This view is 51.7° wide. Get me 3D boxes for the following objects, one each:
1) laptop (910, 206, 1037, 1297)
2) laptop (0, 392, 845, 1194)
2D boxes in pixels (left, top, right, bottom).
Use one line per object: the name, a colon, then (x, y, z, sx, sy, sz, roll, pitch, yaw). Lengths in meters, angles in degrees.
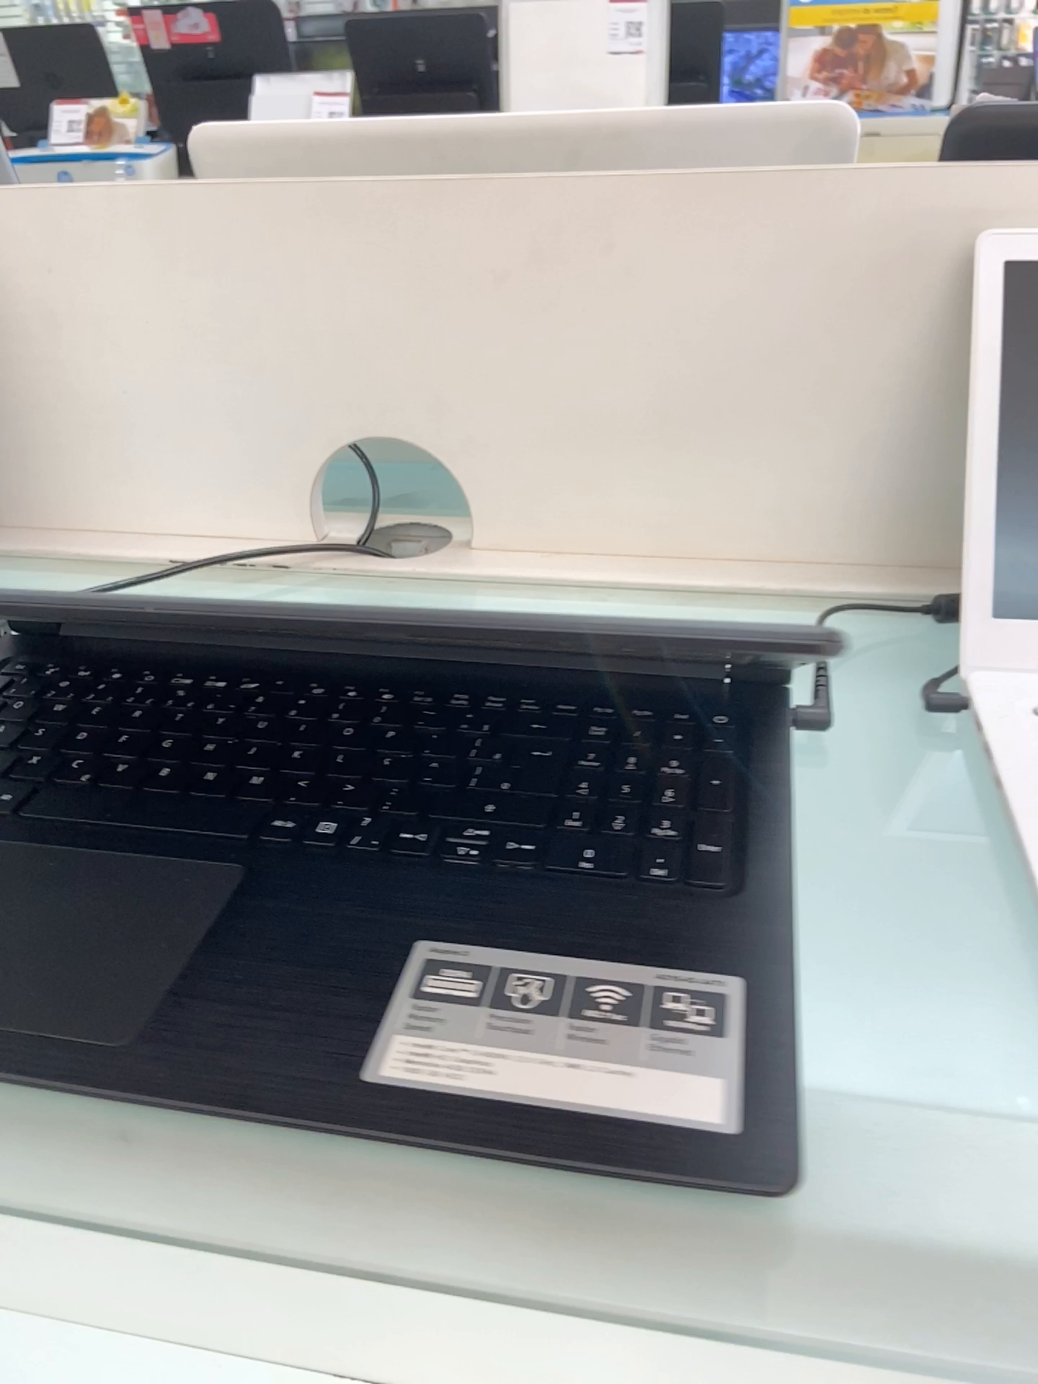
laptop: (0.366, -0.050, 0.359, 0.381, 0.165, 0.353, 4, 31, 8)
laptop: (-0.098, -0.007, 0.363, 0.378, 0.123, 0.241, 4, 31, 12)
